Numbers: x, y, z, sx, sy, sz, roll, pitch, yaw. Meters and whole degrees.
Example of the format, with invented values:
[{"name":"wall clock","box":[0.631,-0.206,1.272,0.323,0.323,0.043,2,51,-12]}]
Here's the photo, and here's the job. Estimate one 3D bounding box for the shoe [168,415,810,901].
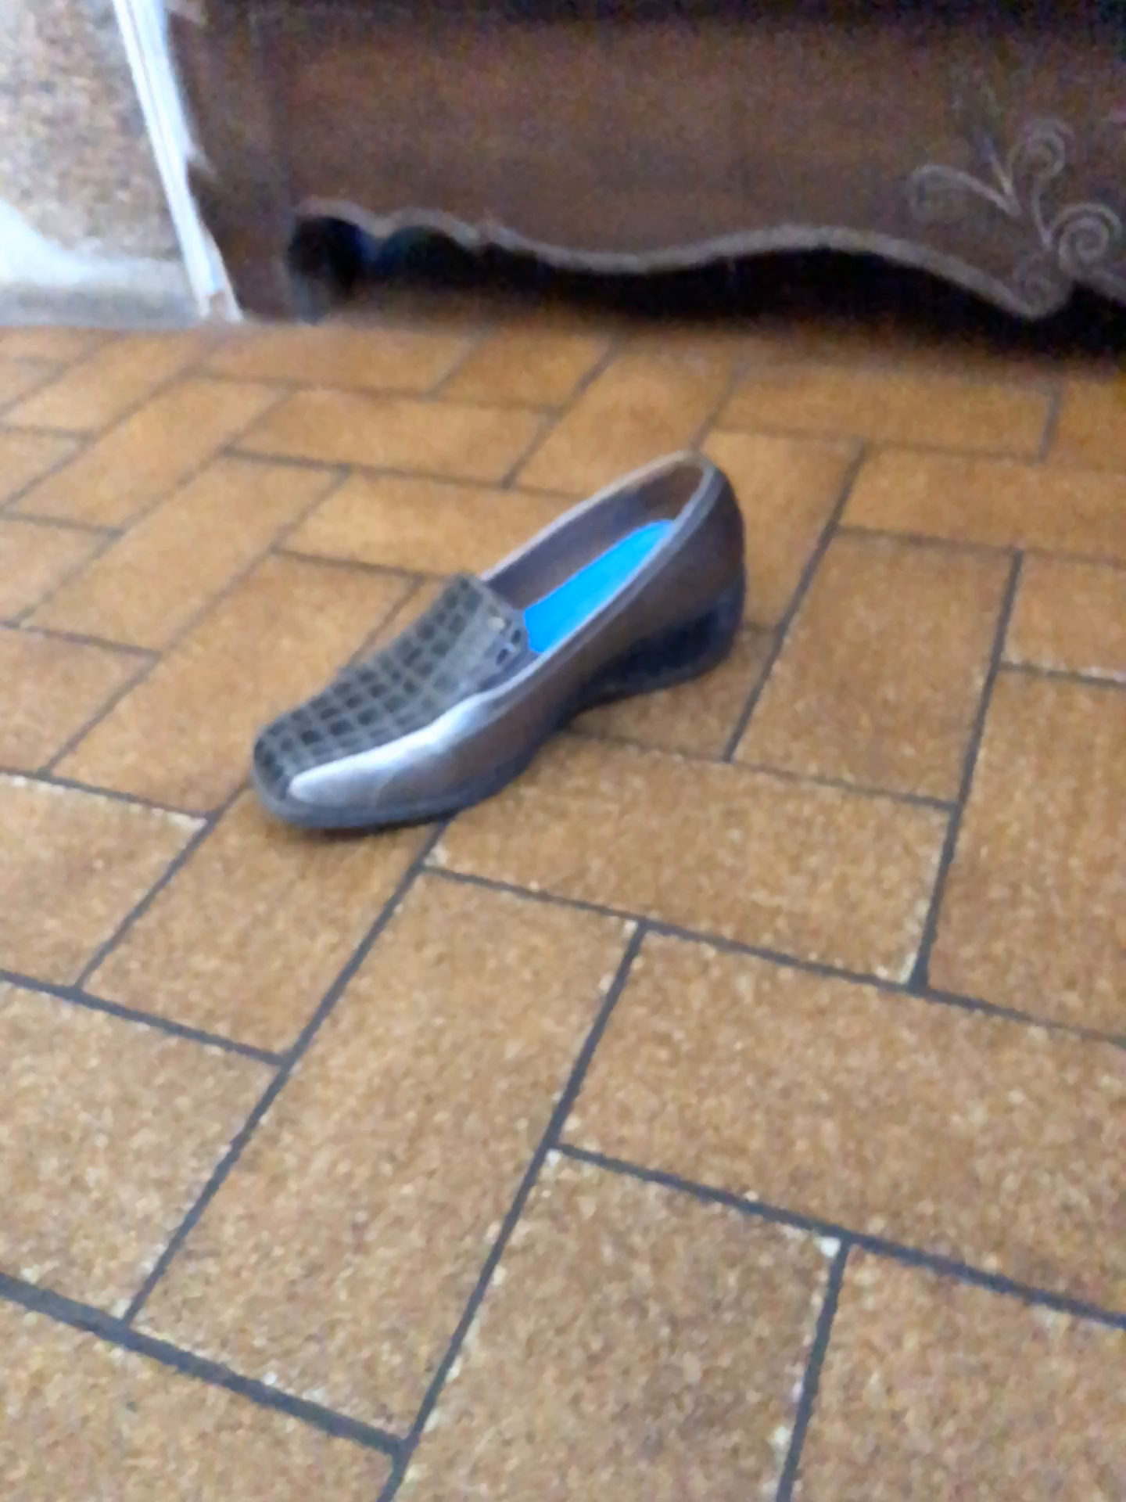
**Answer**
[{"name":"shoe","box":[-0.022,-0.051,0.554,0.261,0.089,0.090,-26,44,-22]}]
